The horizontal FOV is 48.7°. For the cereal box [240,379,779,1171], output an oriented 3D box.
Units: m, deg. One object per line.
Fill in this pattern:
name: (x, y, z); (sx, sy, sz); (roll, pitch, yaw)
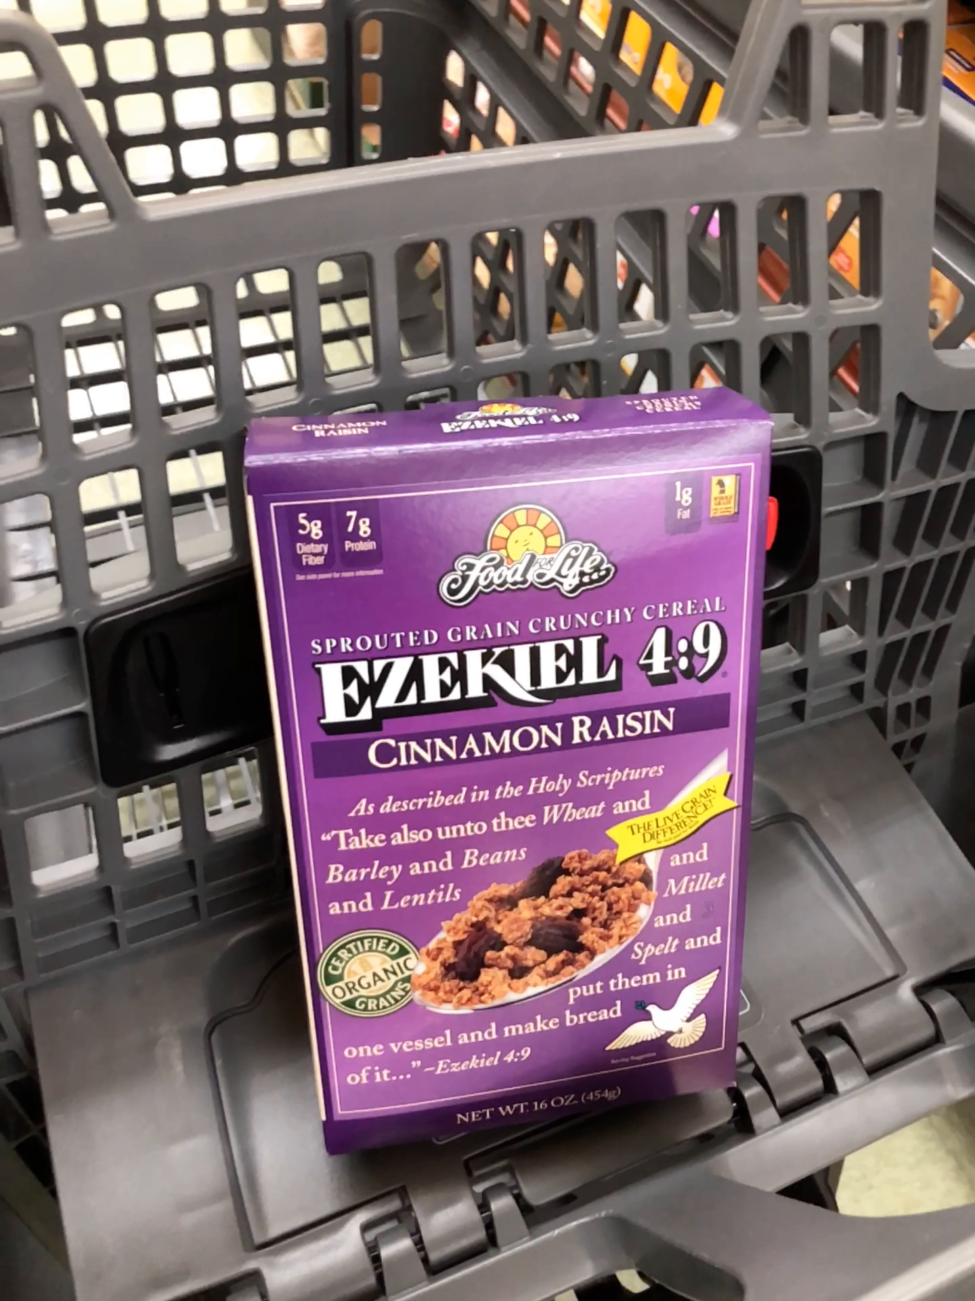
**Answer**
cereal box: (0.007, 0.044, 0.366); (0.150, 0.250, 0.060); (-6, 22, -11)
